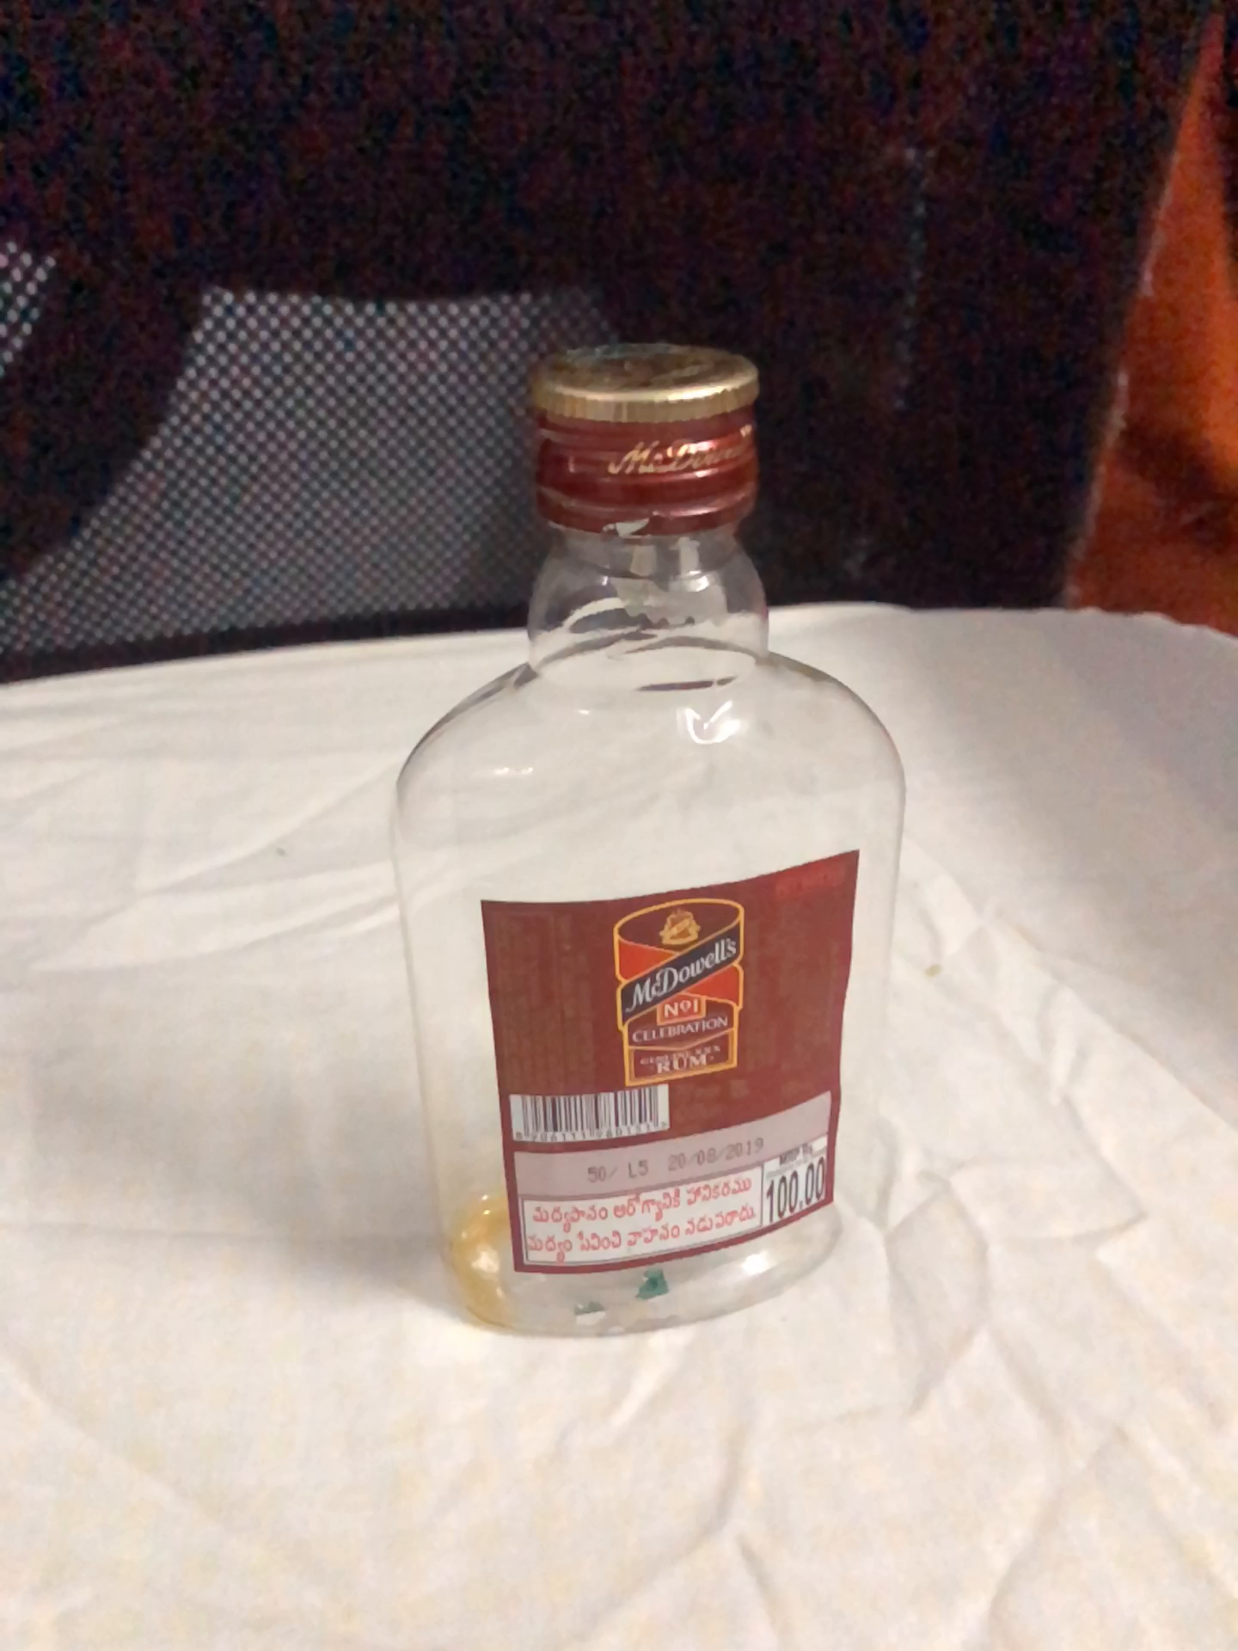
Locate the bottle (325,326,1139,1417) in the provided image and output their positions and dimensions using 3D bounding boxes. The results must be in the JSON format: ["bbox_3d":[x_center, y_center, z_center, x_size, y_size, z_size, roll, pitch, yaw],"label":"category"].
[{"bbox_3d":[0.008,0.011,0.187,0.080,0.139,0.040,-6,32,-13],"label":"bottle"}]
